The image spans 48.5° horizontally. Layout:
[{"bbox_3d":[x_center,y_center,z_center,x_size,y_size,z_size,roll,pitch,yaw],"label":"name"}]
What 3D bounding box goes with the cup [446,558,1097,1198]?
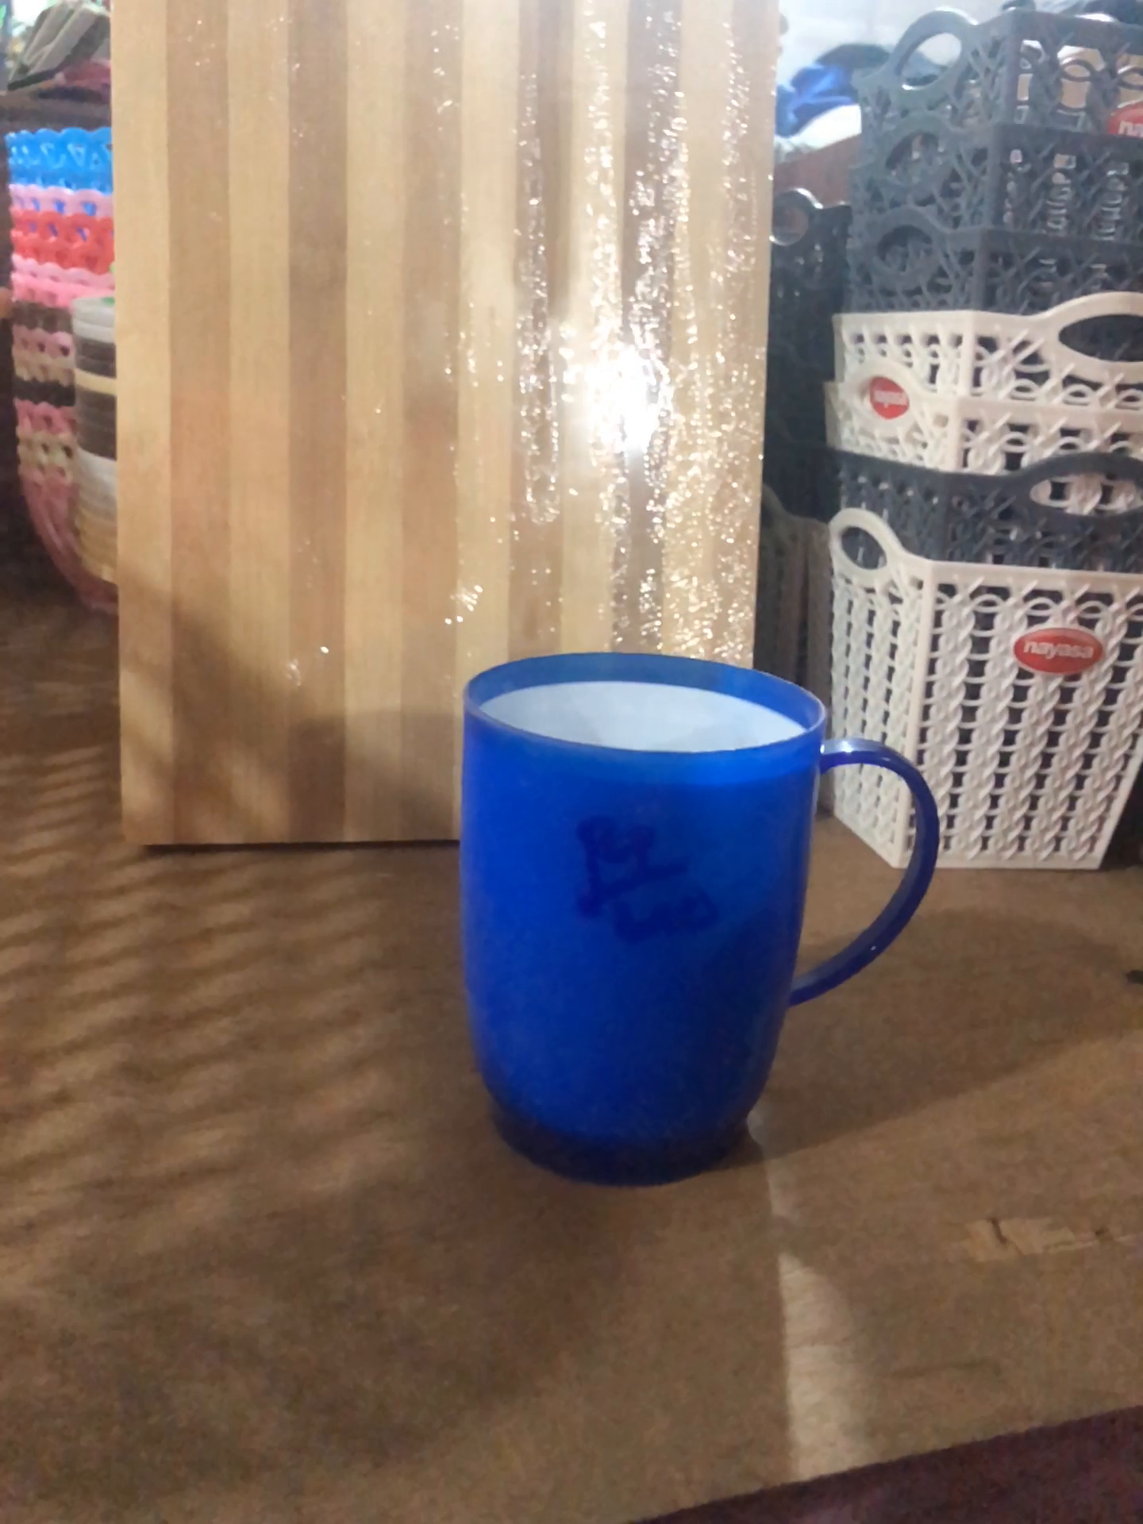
[{"bbox_3d":[0.031,0.020,0.265,0.110,0.110,0.070,0,19,-8],"label":"cup"}]
